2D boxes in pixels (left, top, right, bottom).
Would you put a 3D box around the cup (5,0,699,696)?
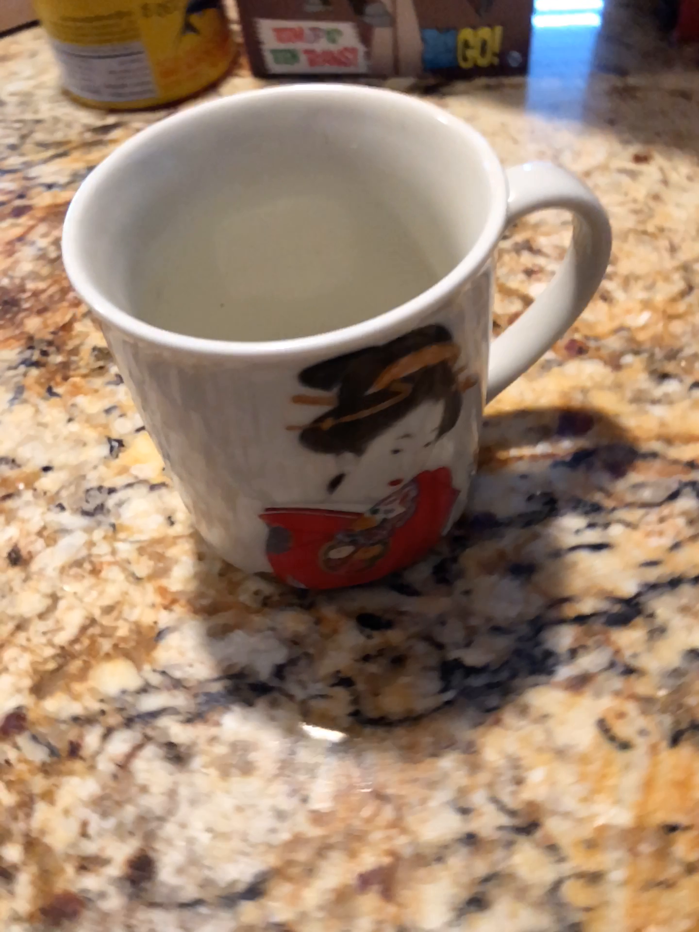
[{"bbox_3d":[0.007,-0.029,0.180,0.120,0.090,0.090,-23,54,-11],"label":"cup"}]
